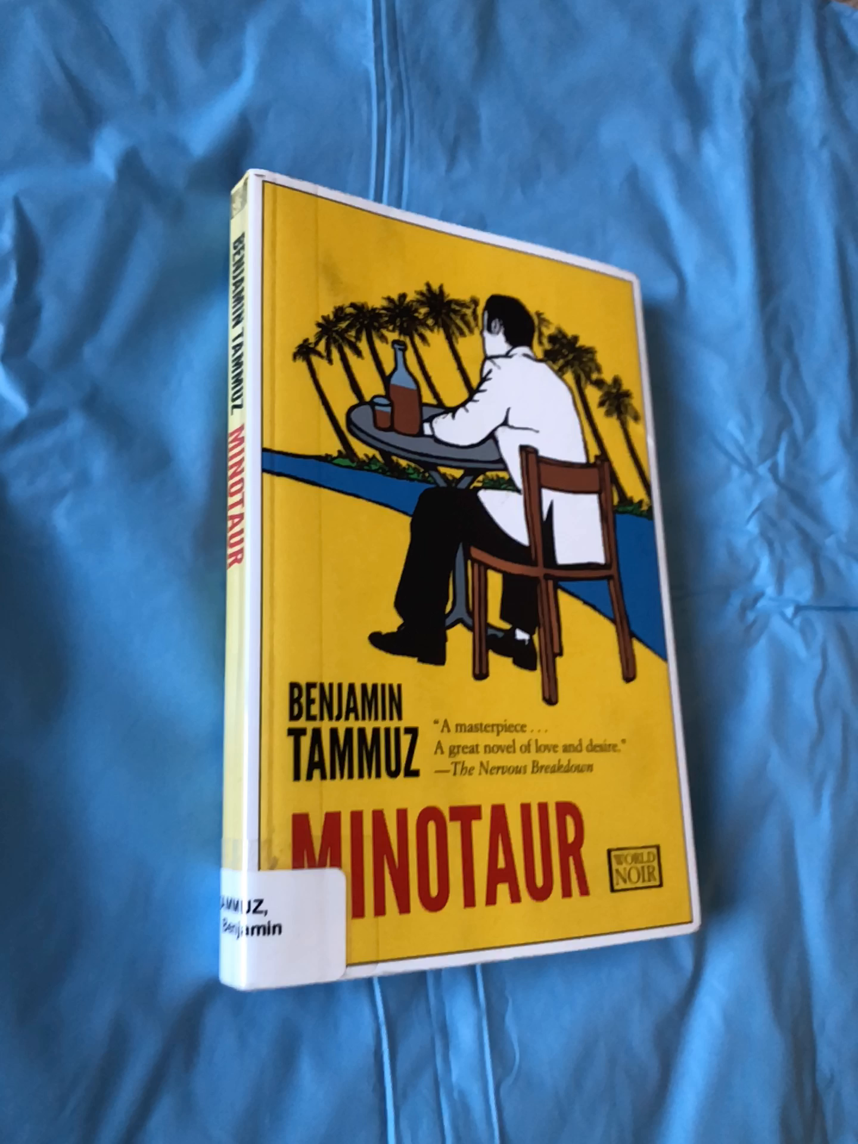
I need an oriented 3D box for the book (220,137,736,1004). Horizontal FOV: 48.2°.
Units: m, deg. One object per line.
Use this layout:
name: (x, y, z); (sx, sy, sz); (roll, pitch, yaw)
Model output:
book: (0.015, -0.003, 0.275); (0.142, 0.027, 0.212); (5, 76, -29)
